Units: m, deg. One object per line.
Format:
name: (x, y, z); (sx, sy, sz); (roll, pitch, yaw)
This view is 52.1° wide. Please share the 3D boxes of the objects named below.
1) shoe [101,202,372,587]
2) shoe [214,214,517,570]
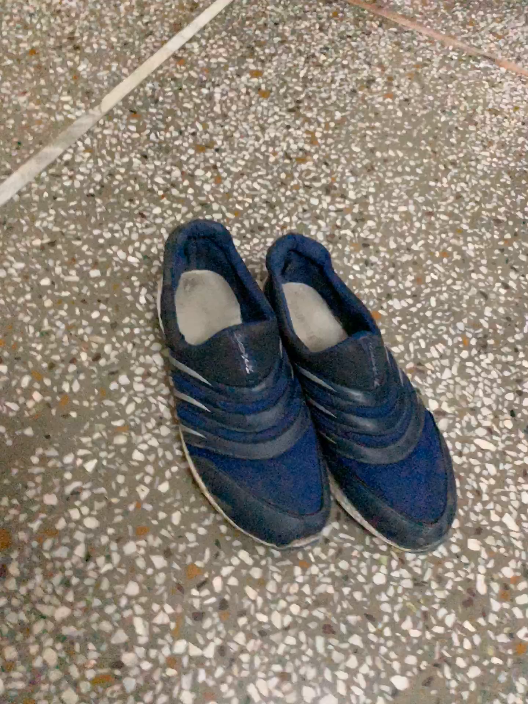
shoe: (-0.037, 0.020, 0.433); (0.103, 0.080, 0.284); (-17, 64, -17)
shoe: (0.066, 0.025, 0.472); (0.103, 0.096, 0.280); (-22, 66, -20)
